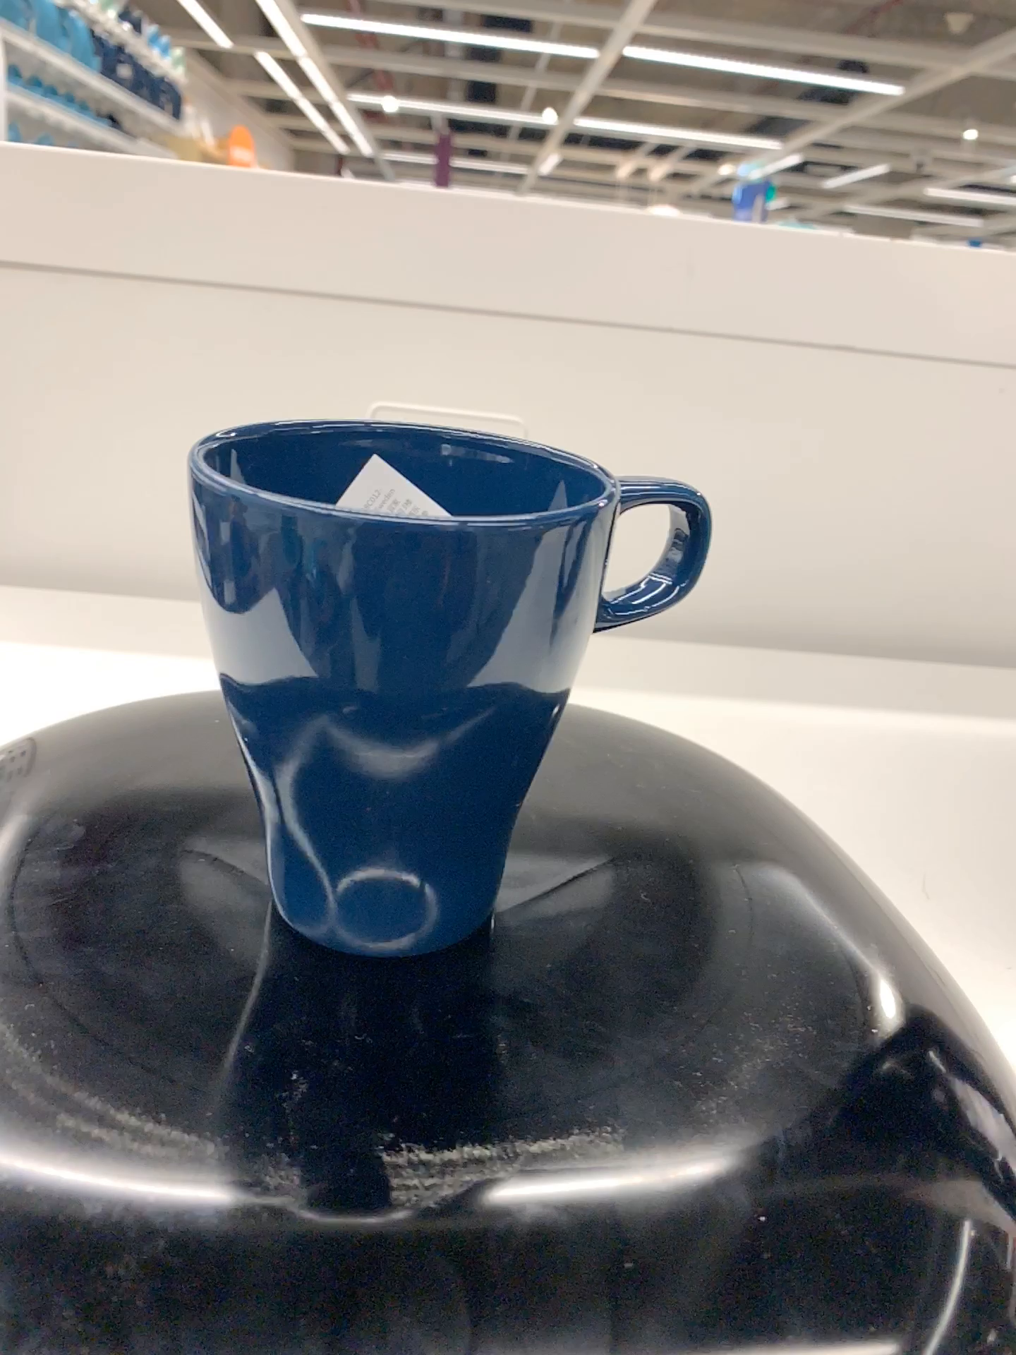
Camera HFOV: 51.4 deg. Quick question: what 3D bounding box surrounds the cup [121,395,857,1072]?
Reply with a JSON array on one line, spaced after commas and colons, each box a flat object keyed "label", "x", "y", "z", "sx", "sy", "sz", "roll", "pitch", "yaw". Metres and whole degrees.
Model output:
[{"label": "cup", "x": -0.007, "y": -0.003, "z": 0.231, "sx": 0.120, "sy": 0.100, "sz": 0.090, "roll": -10, "pitch": 25, "yaw": -37}]
